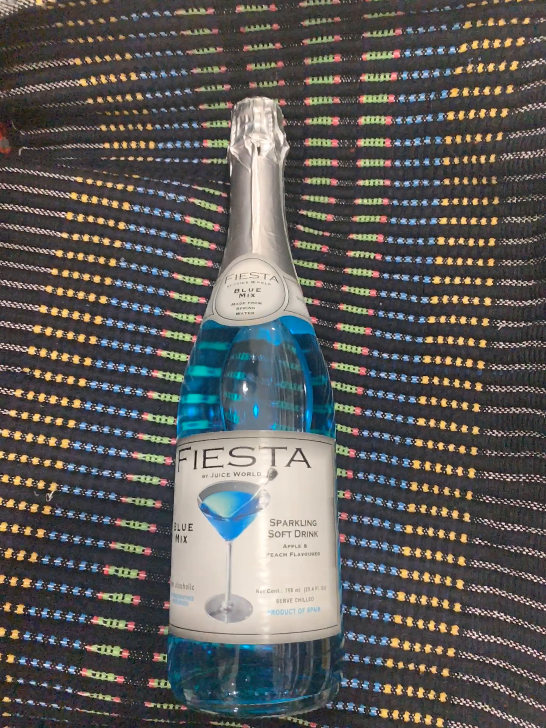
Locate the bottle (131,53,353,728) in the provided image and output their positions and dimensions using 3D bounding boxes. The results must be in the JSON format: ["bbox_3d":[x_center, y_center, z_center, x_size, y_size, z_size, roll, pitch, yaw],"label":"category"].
[{"bbox_3d":[-0.007,0.001,0.305,0.080,0.100,0.310,-3,72,10],"label":"bottle"}]
